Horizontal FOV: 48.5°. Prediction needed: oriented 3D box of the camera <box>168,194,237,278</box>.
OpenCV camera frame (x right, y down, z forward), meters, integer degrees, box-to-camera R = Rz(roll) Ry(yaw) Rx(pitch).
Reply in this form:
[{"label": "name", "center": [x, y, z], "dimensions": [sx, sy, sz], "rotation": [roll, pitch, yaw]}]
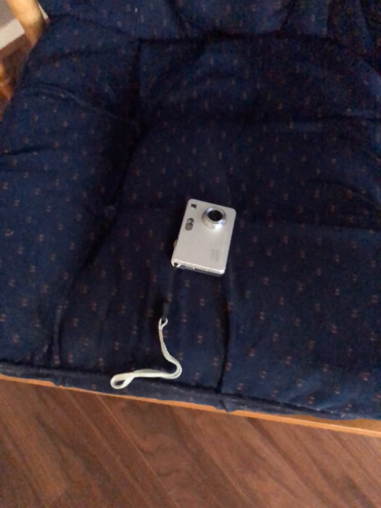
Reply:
[{"label": "camera", "center": [0.014, -0.021, 0.456], "dimensions": [0.058, 0.018, 0.085], "rotation": [13, 59, 2]}]
